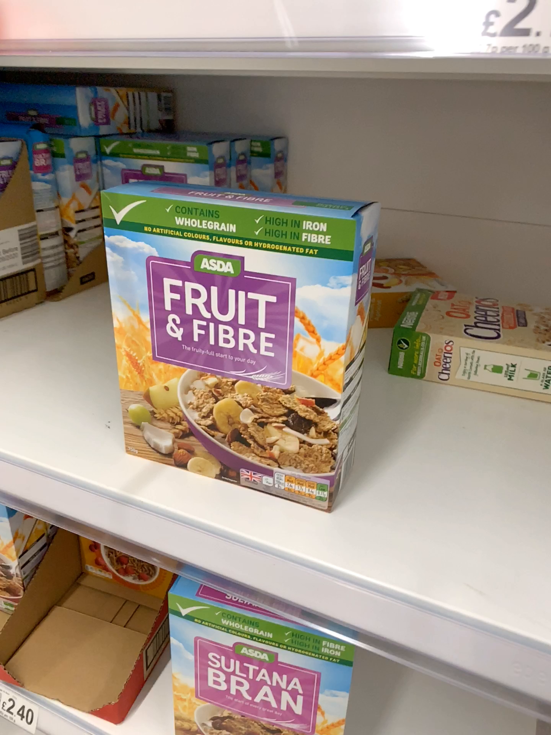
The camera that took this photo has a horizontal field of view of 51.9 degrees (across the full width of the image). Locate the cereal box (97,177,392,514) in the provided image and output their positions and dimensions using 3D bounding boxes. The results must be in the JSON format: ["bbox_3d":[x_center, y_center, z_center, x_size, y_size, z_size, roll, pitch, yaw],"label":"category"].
[{"bbox_3d":[-0.030,-0.026,0.519,0.230,0.258,0.081,12,27,21],"label":"cereal box"}]
